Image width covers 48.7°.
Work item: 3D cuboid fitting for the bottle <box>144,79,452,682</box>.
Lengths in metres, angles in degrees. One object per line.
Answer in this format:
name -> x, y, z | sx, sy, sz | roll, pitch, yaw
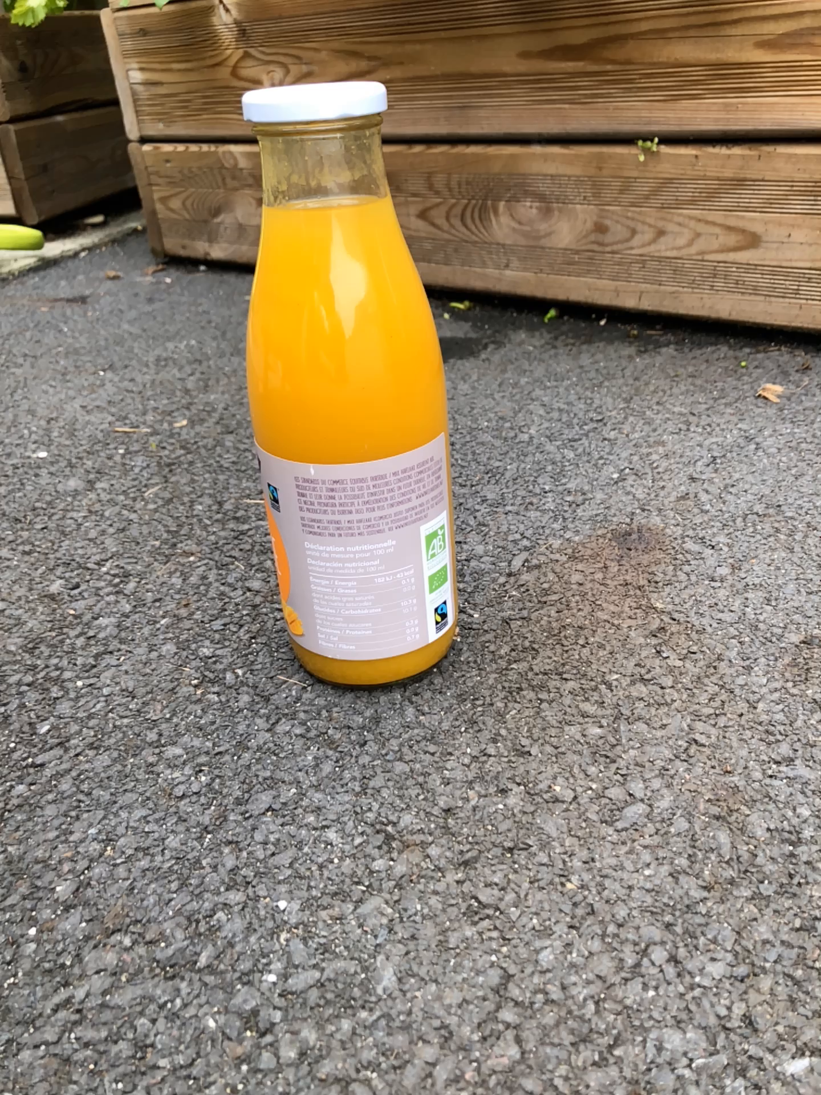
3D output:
bottle -> -0.029, -0.058, 0.346 | 0.080, 0.209, 0.080 | -3, 28, 2
